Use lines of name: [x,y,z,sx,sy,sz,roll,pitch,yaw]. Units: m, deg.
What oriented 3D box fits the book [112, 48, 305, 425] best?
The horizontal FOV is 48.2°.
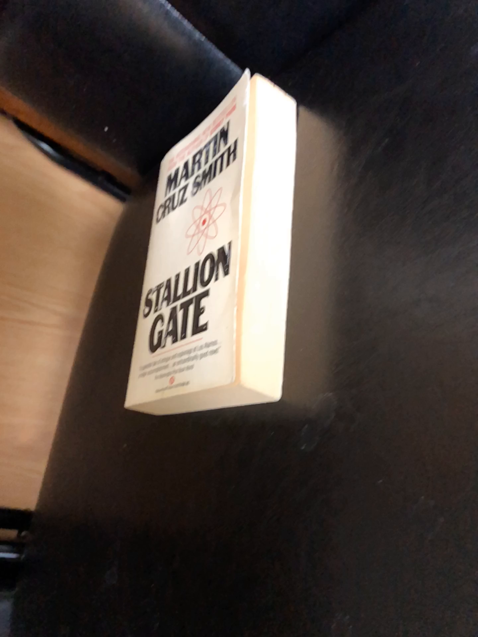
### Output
book: [-0.018,-0.040,0.304,0.111,0.030,0.190,-18,60,49]
